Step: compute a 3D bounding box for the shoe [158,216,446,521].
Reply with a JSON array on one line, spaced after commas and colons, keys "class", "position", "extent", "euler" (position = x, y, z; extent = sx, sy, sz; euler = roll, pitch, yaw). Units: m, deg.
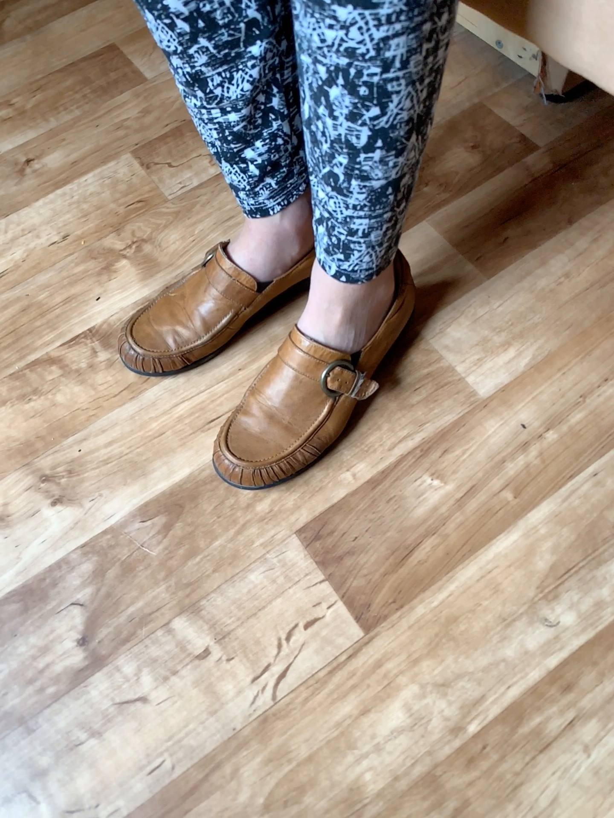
[{"class": "shoe", "position": [0.003, -0.030, 0.427], "extent": [0.080, 0.070, 0.190], "euler": [35, 71, 20]}]

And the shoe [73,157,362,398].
[{"class": "shoe", "position": [-0.061, -0.100, 0.472], "extent": [0.190, 0.070, 0.080], "euler": [-29, 64, -9]}]
